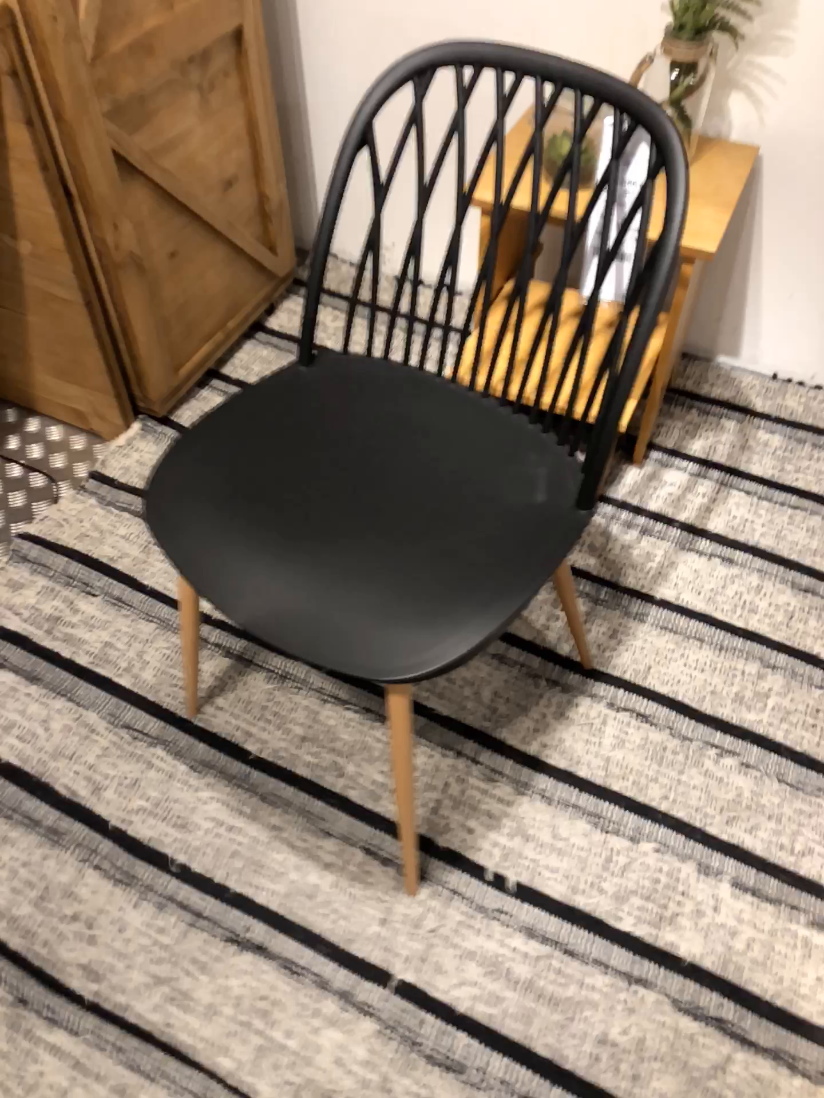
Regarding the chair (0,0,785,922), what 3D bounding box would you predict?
[{"bbox_3d":[-0.028,-0.078,1.026,0.471,0.774,0.543,31,56,24],"label":"chair"}]
